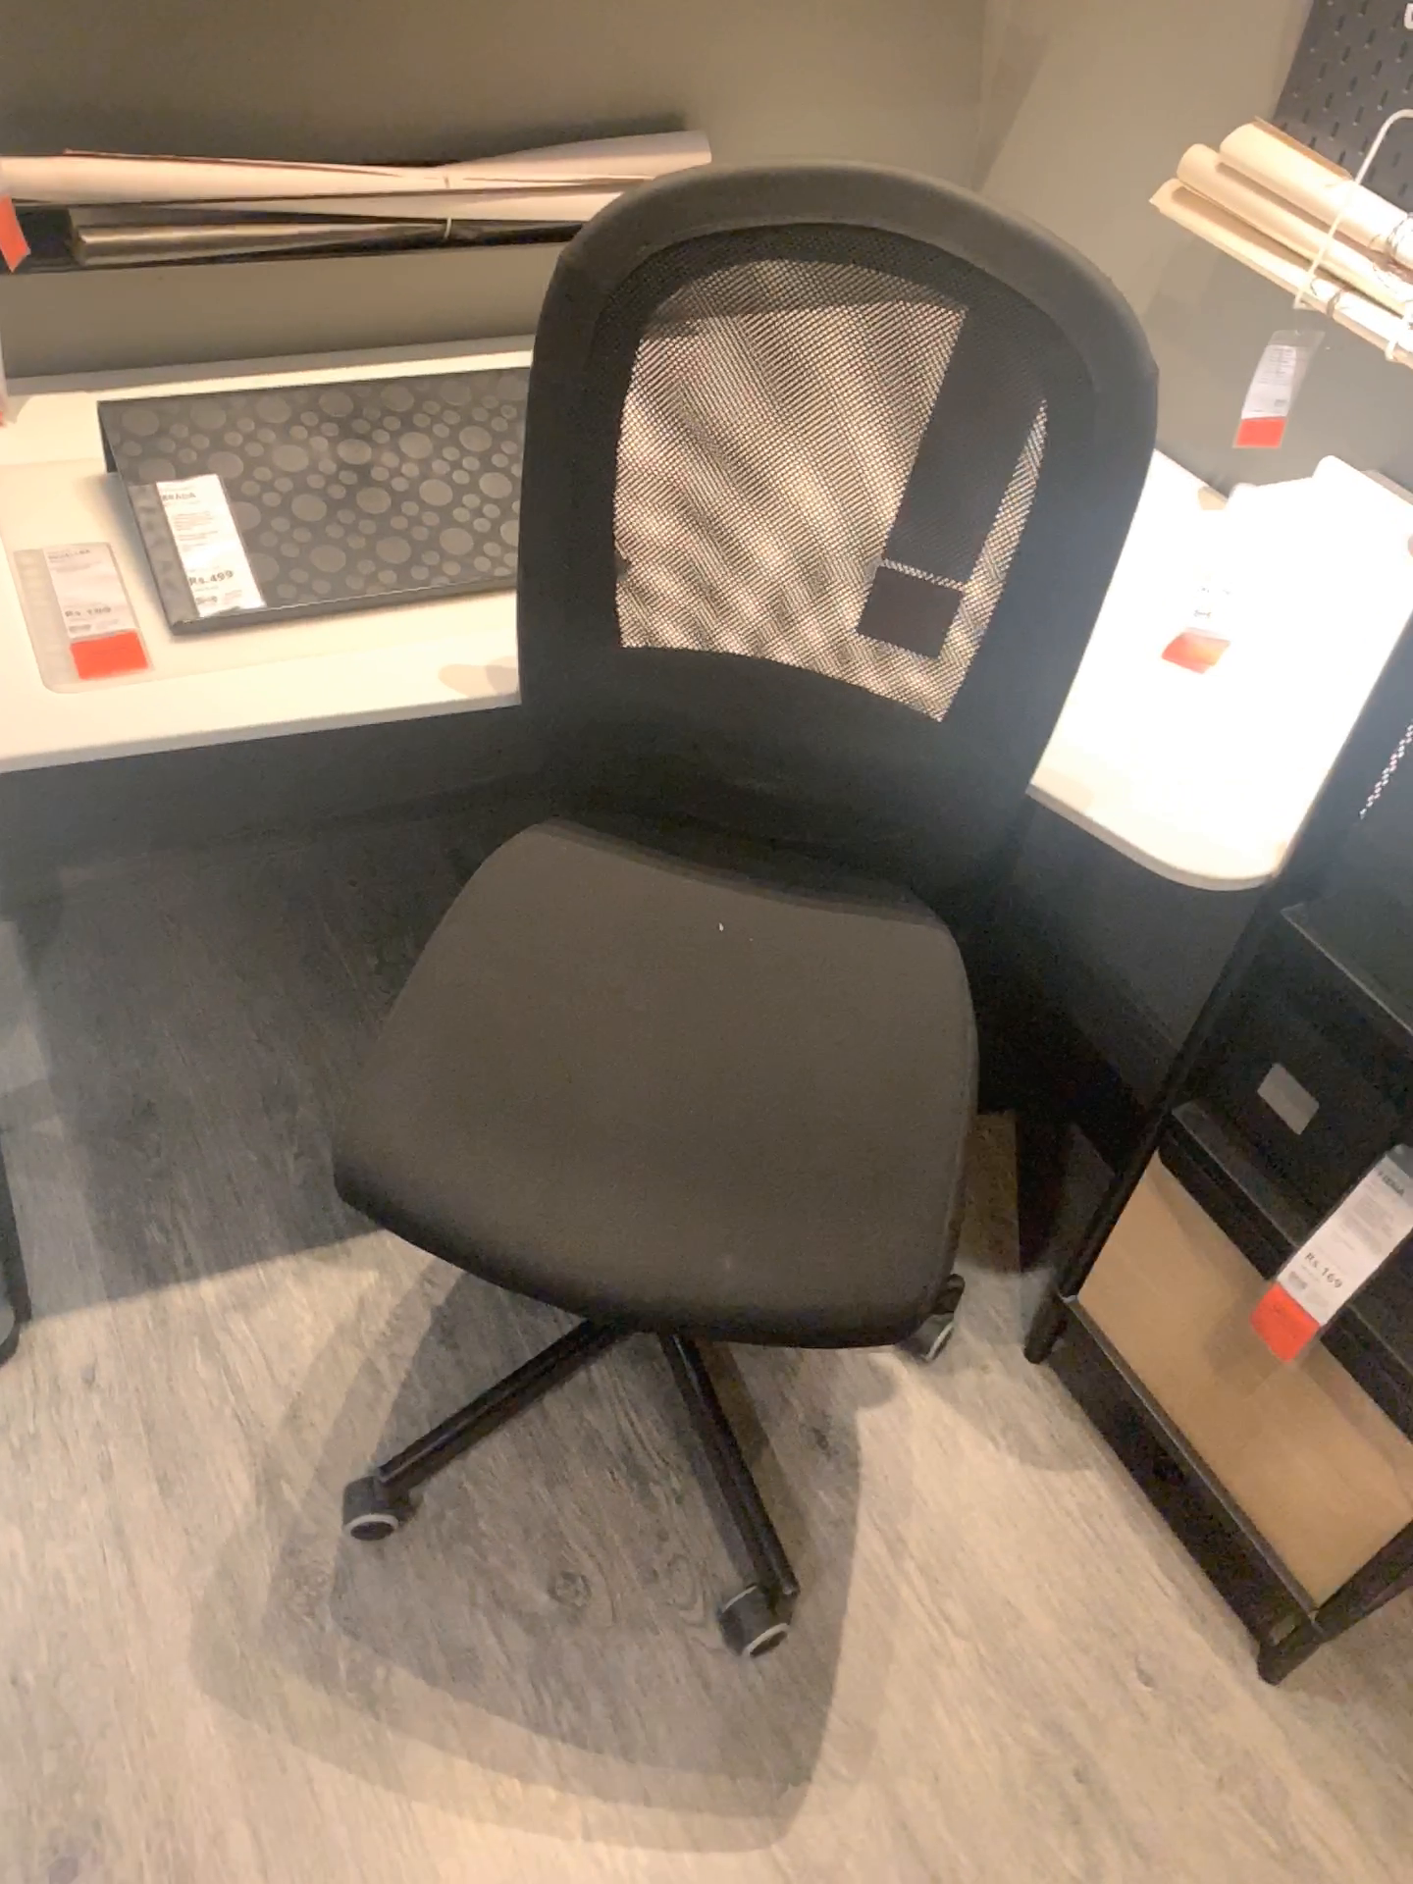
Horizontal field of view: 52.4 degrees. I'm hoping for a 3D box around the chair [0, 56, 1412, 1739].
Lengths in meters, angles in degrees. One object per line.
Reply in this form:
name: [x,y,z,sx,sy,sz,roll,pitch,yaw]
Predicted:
chair: [-0.013,0.000,1.154,0.690,0.996,0.713,15,45,5]
